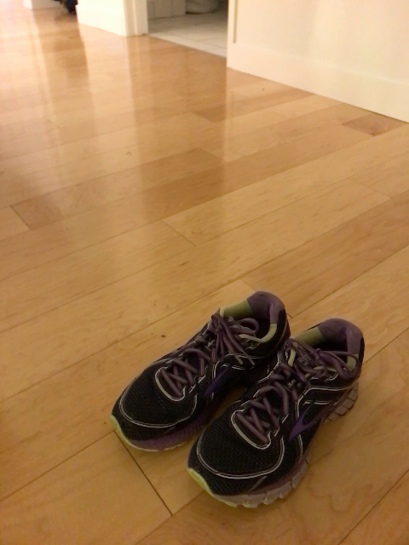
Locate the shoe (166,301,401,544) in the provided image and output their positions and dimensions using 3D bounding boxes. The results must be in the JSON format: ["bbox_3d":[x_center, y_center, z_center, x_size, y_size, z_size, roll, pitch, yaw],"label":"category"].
[{"bbox_3d":[0.099,0.150,0.509,0.120,0.069,0.271,31,46,33],"label":"shoe"}]

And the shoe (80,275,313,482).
[{"bbox_3d":[0.001,0.111,0.546,0.271,0.069,0.110,-28,46,-32],"label":"shoe"}]
